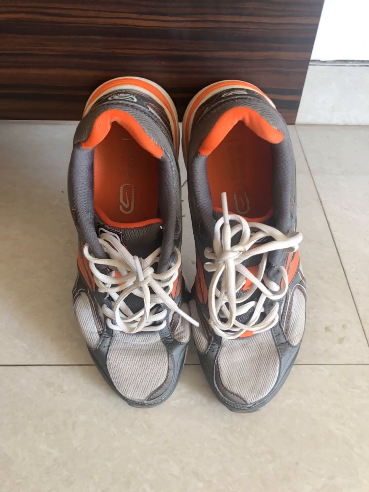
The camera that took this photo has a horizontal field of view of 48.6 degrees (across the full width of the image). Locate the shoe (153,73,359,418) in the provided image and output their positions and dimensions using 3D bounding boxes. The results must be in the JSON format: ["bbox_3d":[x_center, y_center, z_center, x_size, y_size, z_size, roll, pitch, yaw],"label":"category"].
[{"bbox_3d":[0.047,0.000,0.339,0.120,0.259,0.111,-2,23,1],"label":"shoe"}]

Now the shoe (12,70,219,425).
[{"bbox_3d":[-0.042,0.003,0.340,0.120,0.269,0.100,-4,25,-6],"label":"shoe"}]
